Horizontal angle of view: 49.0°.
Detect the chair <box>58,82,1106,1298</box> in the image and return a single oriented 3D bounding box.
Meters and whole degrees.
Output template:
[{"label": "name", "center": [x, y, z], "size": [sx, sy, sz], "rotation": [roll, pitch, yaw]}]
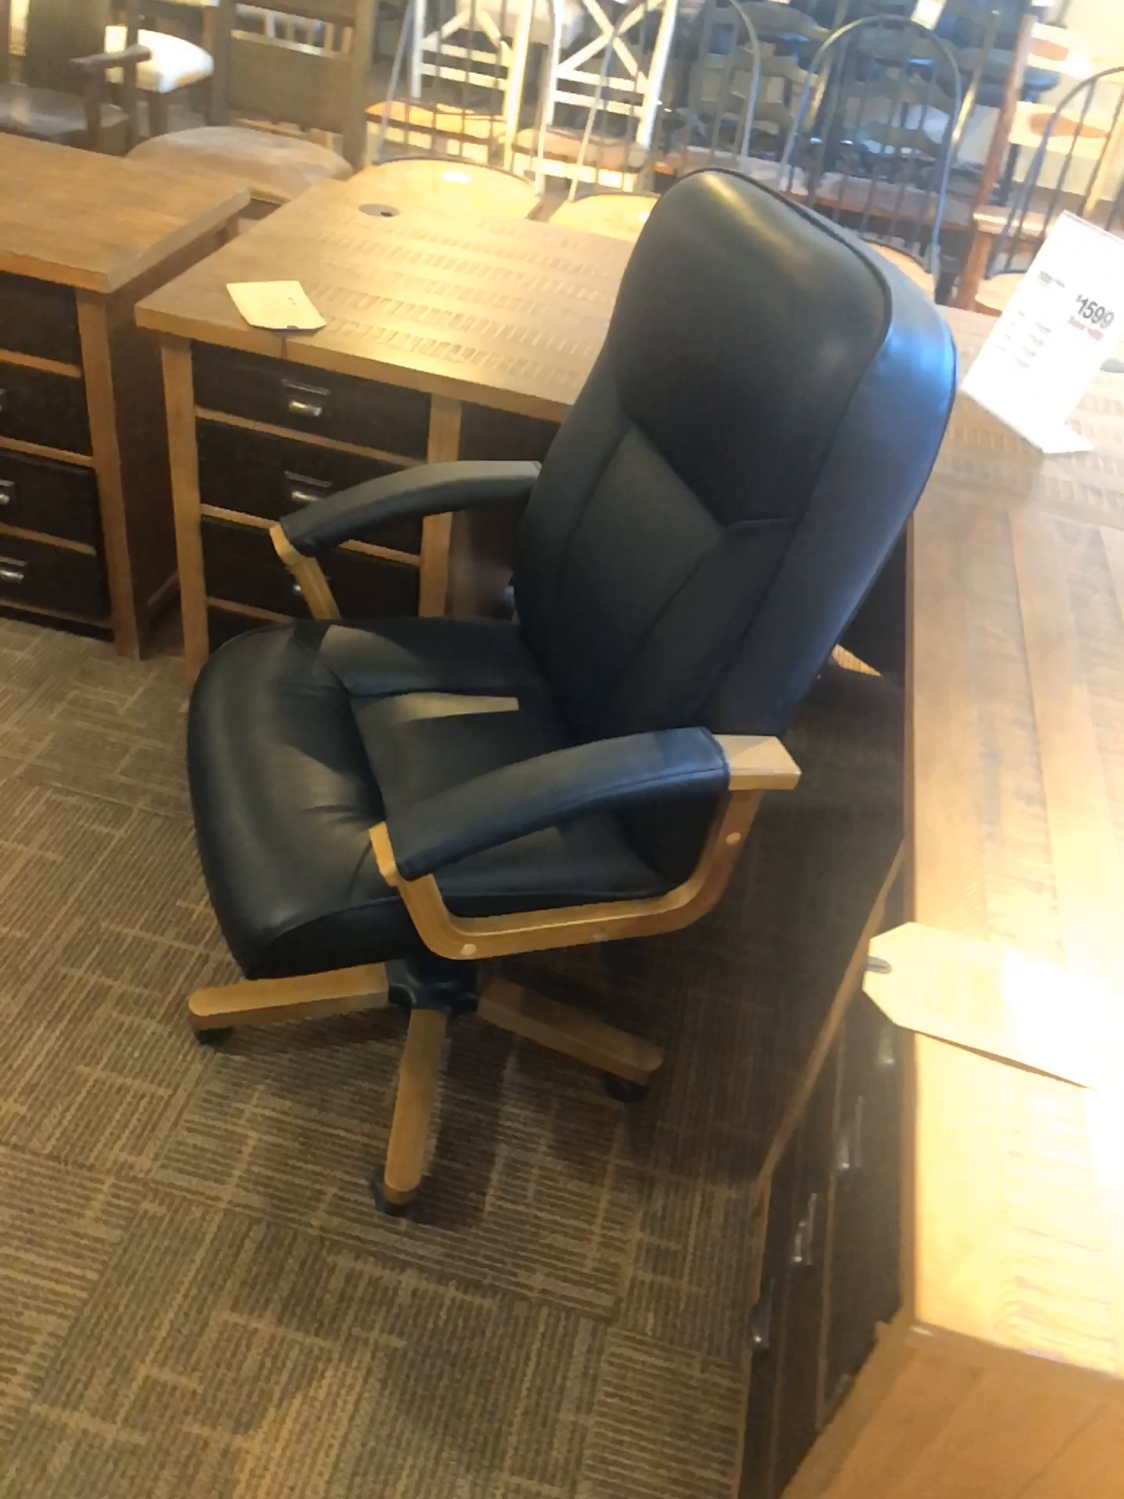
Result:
[{"label": "chair", "center": [-0.106, -0.050, 1.451], "size": [0.742, 1.104, 0.742], "rotation": [-3, 41, -16]}]
